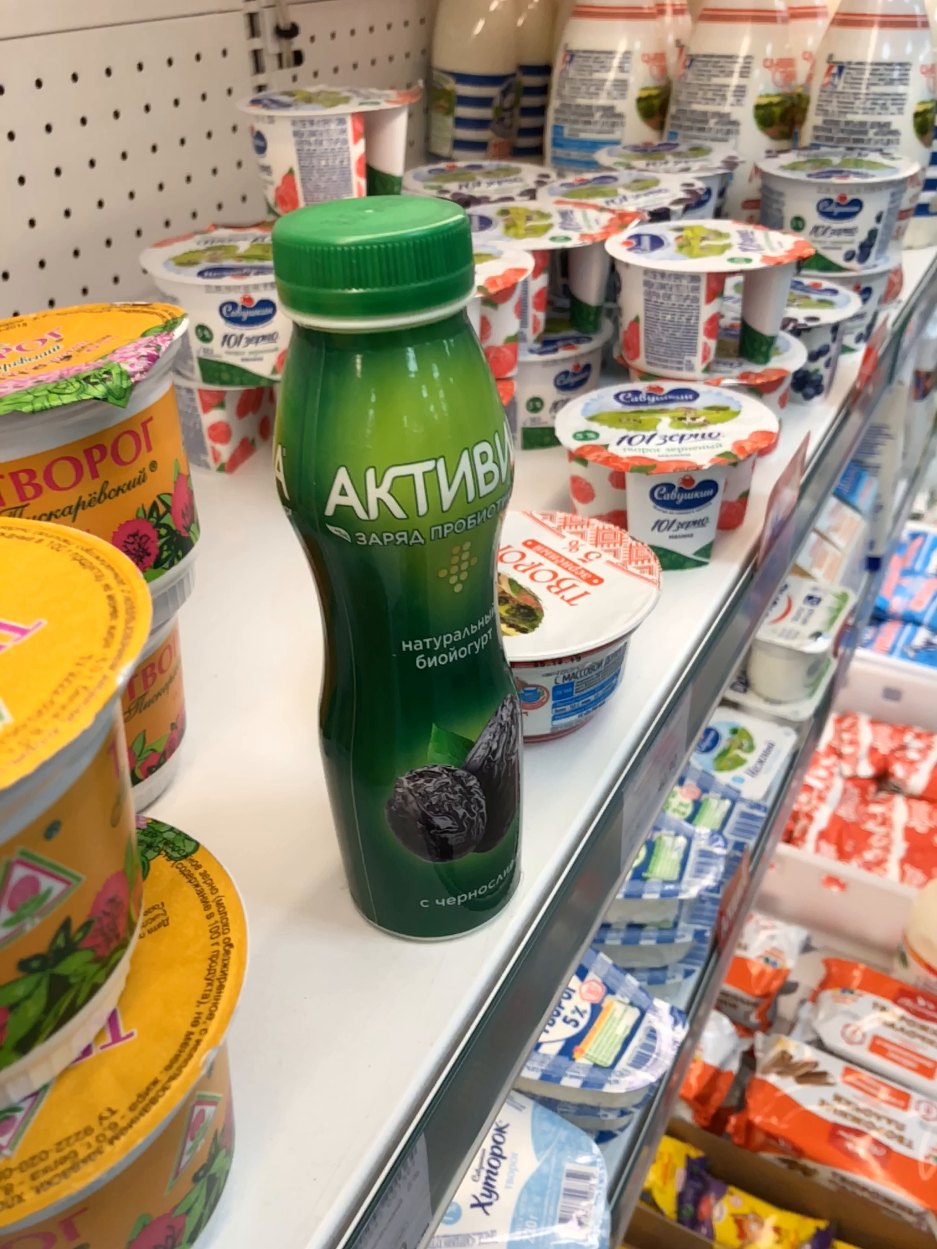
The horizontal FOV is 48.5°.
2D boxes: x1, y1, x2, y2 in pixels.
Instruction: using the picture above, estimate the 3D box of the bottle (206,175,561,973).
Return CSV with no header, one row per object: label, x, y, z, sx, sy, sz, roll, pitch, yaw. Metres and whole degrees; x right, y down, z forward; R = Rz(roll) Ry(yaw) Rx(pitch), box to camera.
bottle,-0.016,-0.004,0.256,0.050,0.185,0.054,-1,34,1
